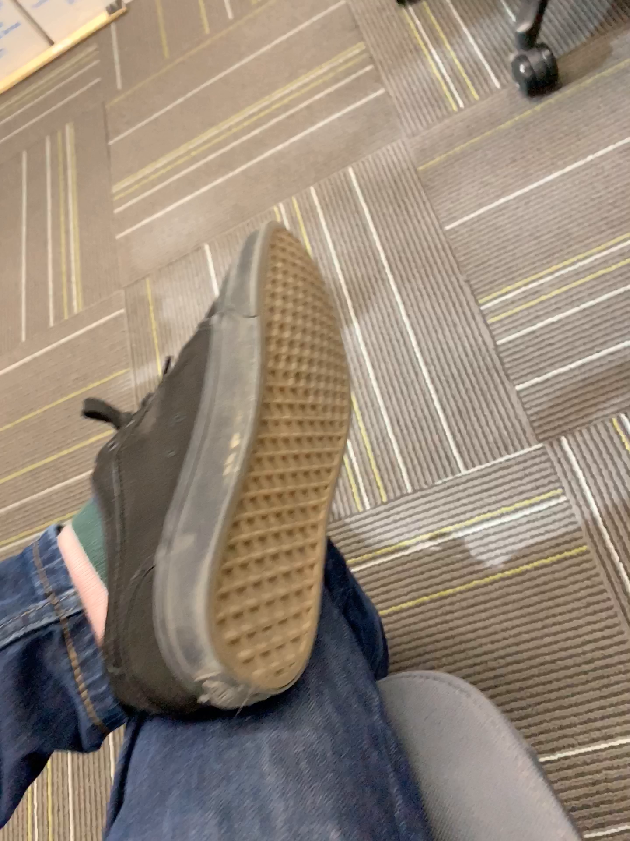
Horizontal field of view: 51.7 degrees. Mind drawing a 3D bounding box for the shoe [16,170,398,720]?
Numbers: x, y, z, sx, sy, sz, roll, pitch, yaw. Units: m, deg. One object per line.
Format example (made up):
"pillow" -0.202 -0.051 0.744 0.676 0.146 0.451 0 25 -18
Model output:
"shoe" -0.051 0.023 0.365 0.135 0.119 0.260 -16 61 29
